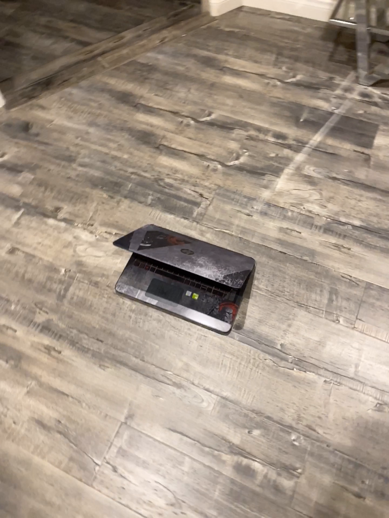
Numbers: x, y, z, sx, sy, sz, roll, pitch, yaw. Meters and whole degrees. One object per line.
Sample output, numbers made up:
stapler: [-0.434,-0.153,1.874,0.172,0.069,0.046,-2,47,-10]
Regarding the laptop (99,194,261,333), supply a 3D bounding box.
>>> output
laptop: [-0.032,0.011,1.156,0.374,0.177,0.250,19,65,13]
